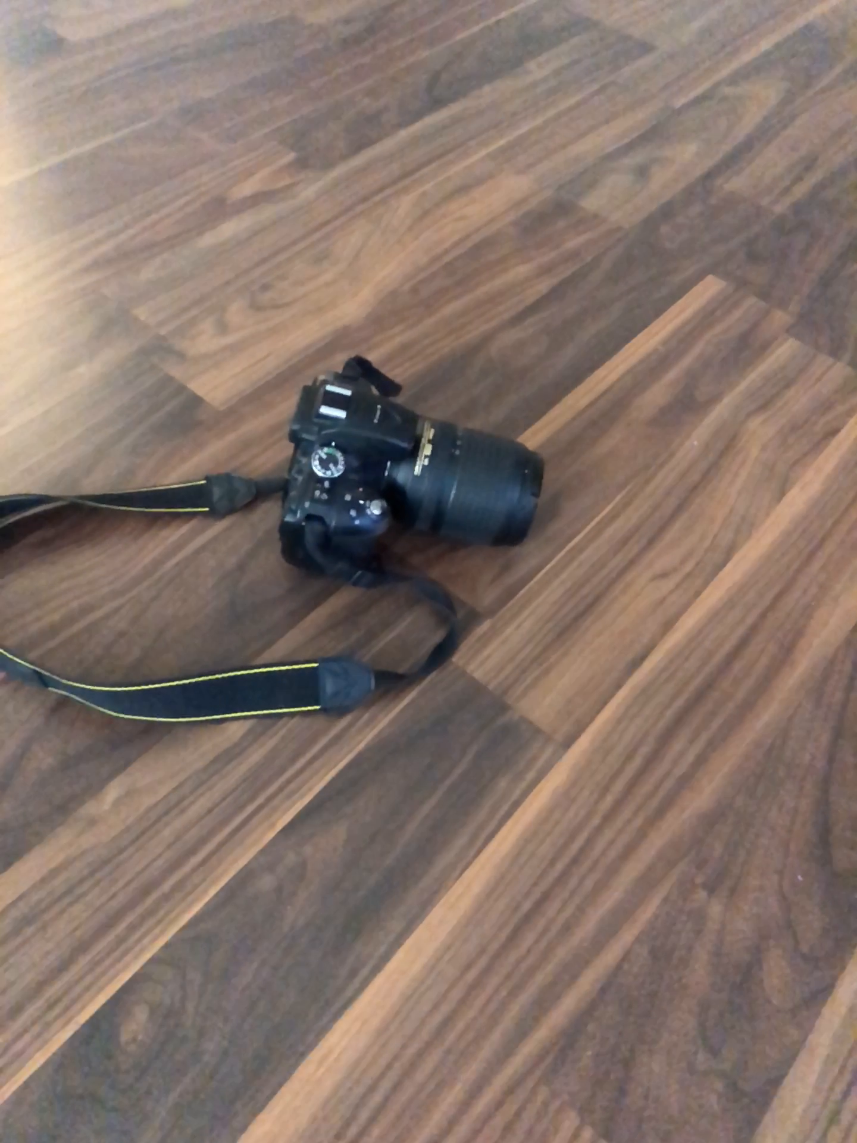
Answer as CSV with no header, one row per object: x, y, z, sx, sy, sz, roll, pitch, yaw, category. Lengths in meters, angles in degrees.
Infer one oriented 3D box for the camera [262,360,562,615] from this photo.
-0.006,-0.054,0.579,0.160,0.070,0.120,8,51,2,camera
